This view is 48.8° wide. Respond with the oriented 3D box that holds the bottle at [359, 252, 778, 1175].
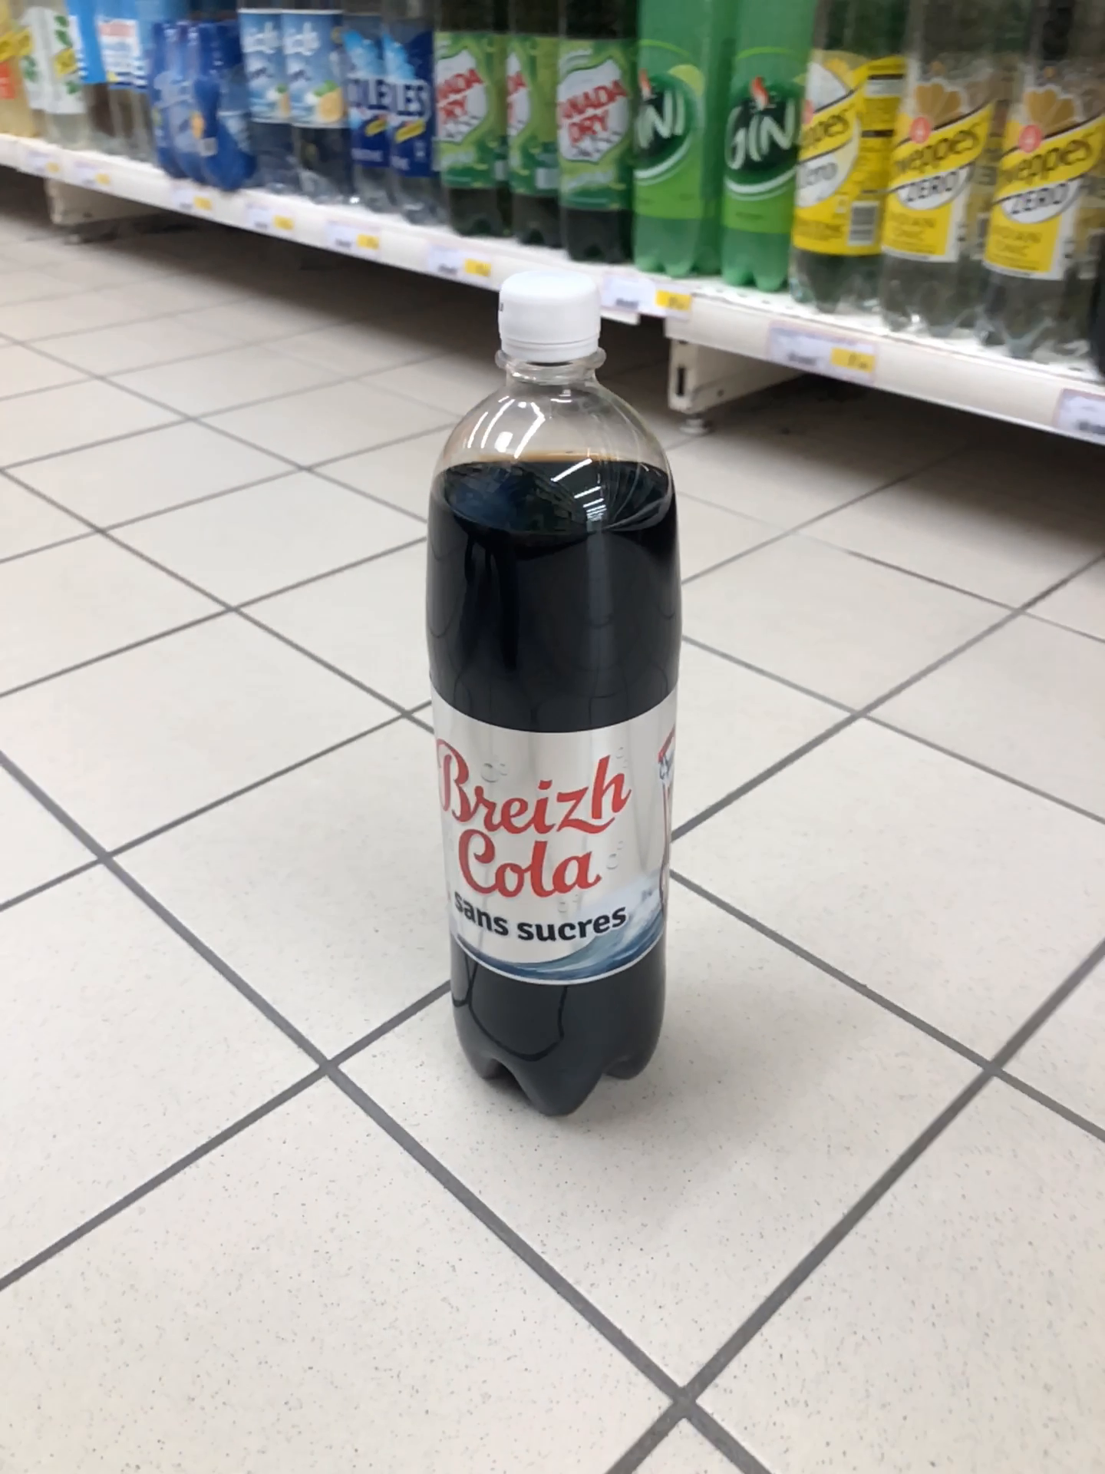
[{"bbox_3d":[0.009,0.004,0.443,0.100,0.318,0.091,10,33,16],"label":"bottle"}]
